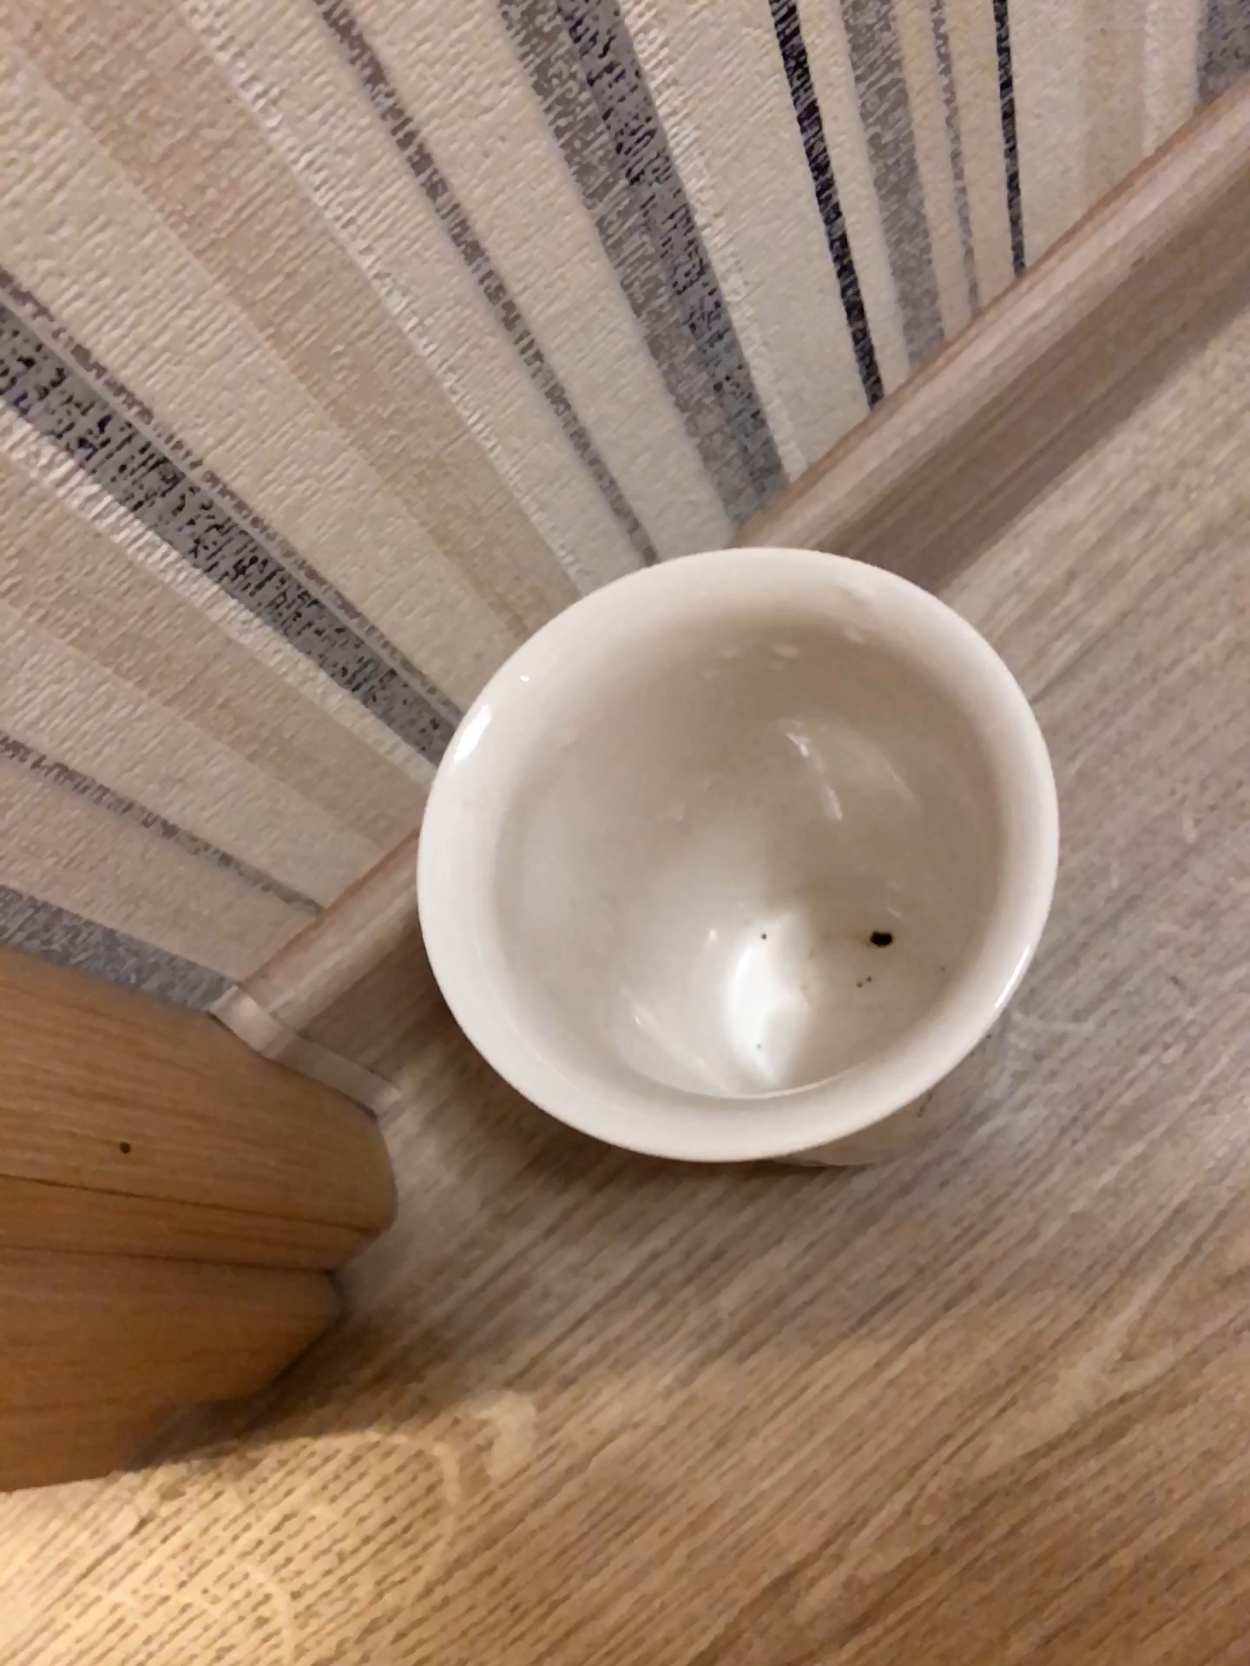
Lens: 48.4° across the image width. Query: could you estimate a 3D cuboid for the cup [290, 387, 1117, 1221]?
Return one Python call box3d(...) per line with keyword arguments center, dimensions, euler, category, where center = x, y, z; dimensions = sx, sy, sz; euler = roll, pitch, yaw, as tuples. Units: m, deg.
box3d(center=(0.029, 0.004, 0.261), dimensions=(0.095, 0.133, 0.097), euler=(-6, 69, 16), category="cup")
